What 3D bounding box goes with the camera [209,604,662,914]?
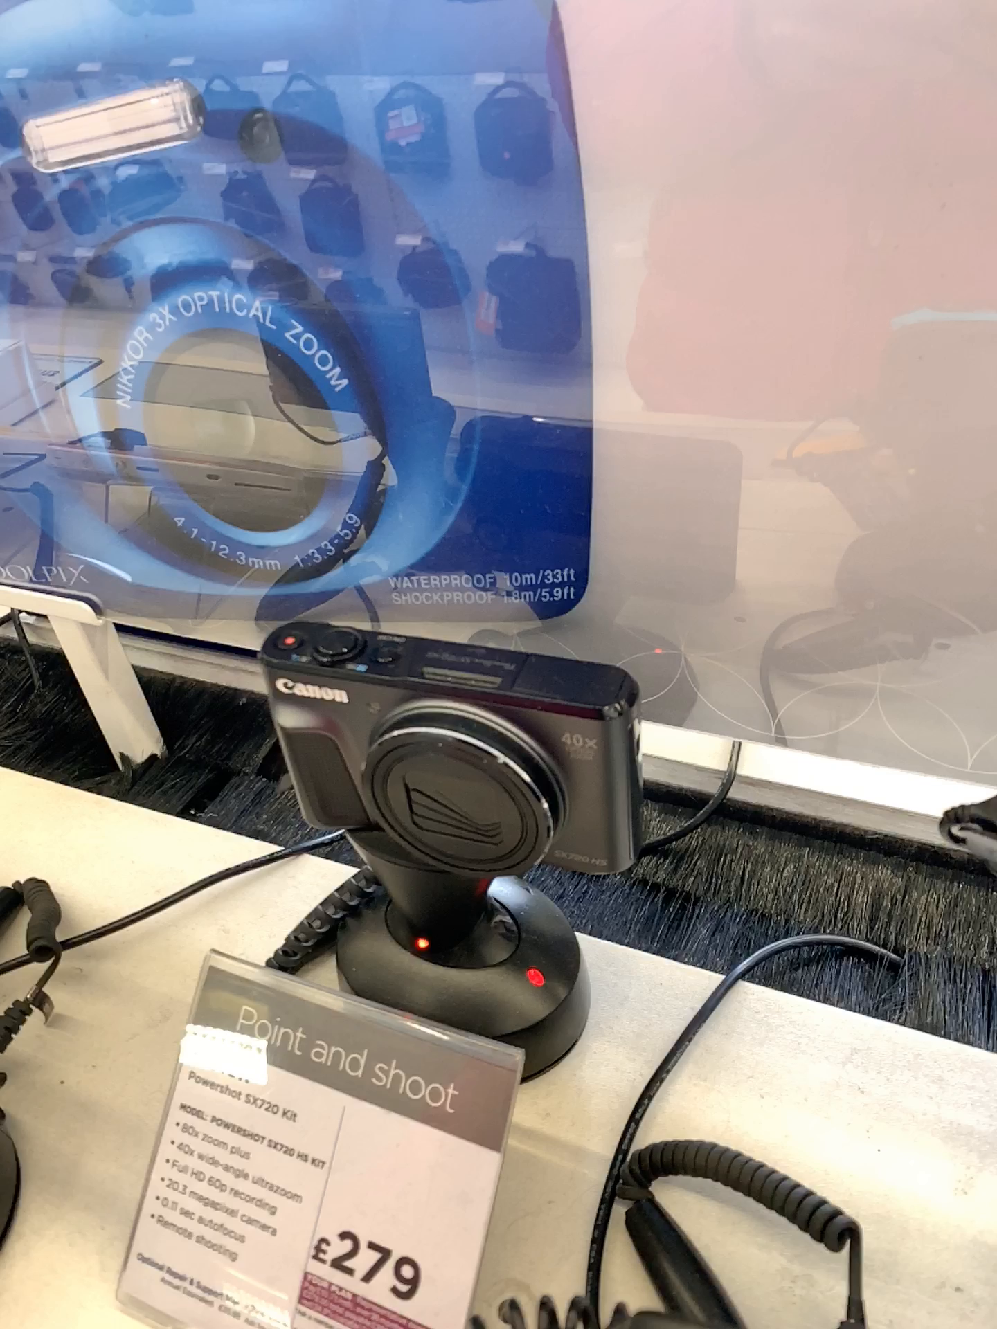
[{"bbox_3d":[-0.015,0.024,0.277,0.113,0.061,0.031,9,41,20],"label":"camera"}]
